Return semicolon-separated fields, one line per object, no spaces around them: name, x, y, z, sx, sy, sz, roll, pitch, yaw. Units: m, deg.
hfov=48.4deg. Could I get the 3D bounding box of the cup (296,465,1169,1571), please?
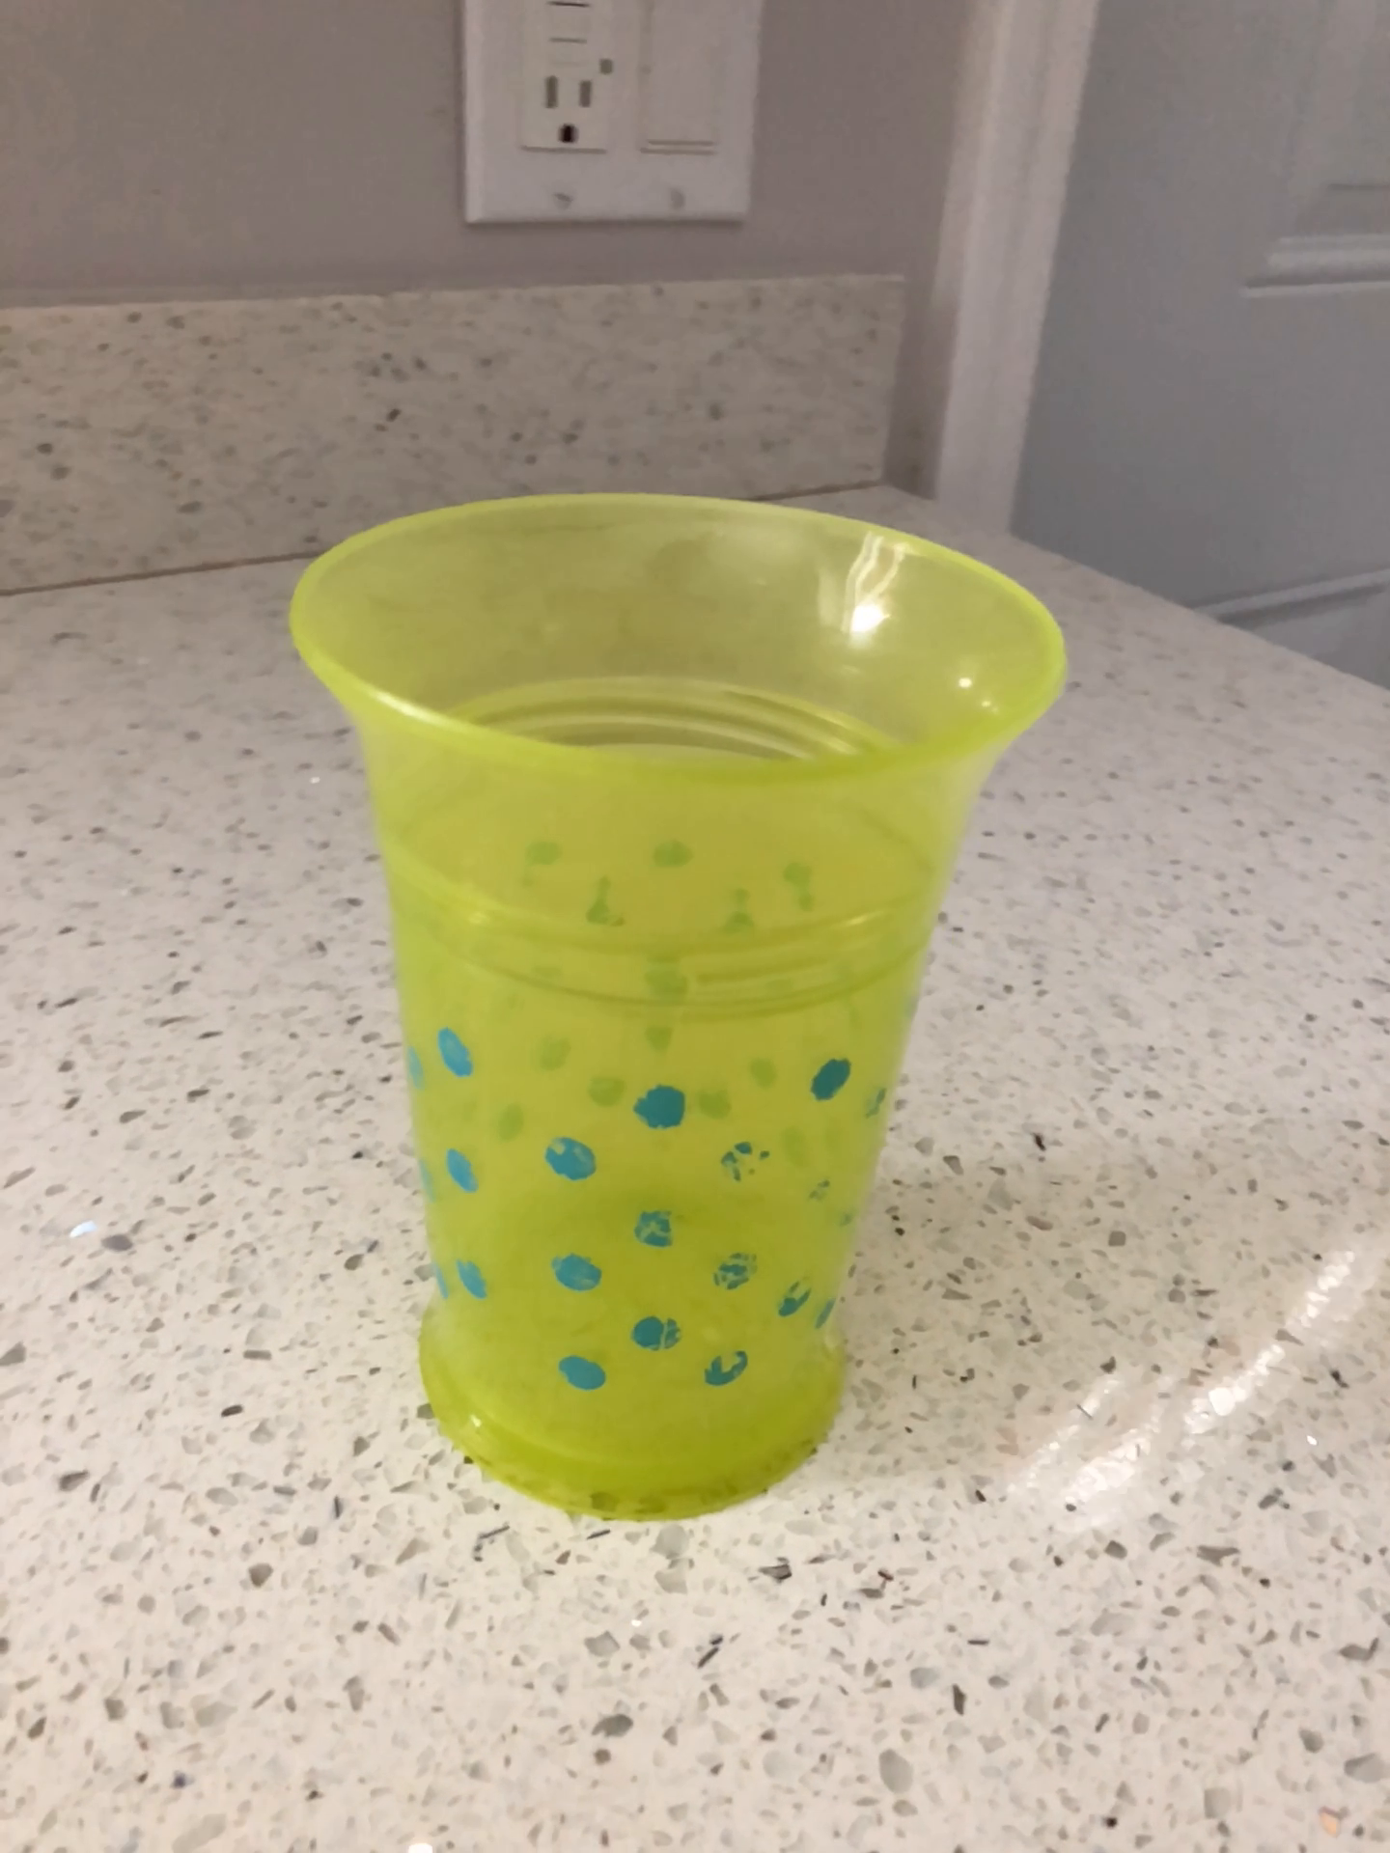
cup;-0.006;0.008;0.192;0.078;0.109;0.073;3;31;-2
